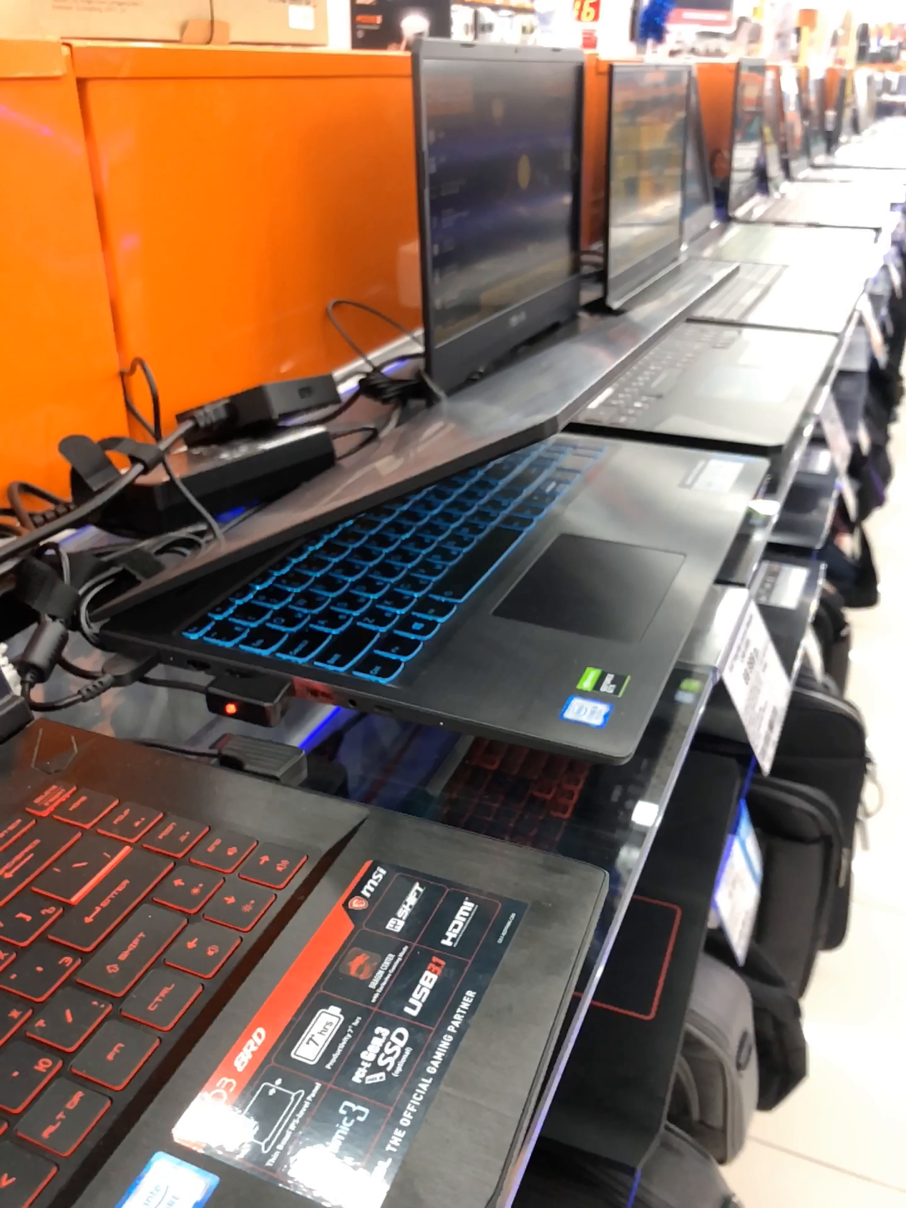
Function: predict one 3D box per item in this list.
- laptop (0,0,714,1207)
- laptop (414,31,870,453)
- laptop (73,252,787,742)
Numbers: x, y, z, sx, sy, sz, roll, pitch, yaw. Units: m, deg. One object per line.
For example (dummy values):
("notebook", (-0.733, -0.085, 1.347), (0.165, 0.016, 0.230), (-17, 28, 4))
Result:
("laptop", (-0.165, 0.020, 0.157), (0.325, 0.228, 0.350), (10, 26, 19))
("laptop", (0.172, -0.322, 0.845), (0.277, 0.251, 0.385), (11, 28, 21))
("laptop", (0.024, -0.096, 0.540), (0.240, 0.118, 0.349), (11, 29, 20))
